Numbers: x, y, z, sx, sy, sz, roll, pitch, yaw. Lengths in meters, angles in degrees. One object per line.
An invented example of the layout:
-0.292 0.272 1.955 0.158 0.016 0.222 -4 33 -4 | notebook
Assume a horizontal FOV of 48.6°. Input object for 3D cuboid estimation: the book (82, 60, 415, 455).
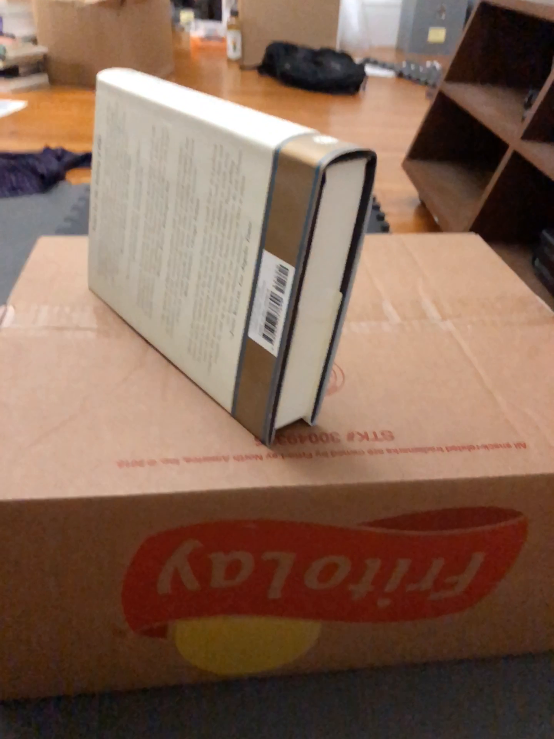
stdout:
-0.046 -0.089 0.412 0.060 0.169 0.251 -12 37 -38 | book
